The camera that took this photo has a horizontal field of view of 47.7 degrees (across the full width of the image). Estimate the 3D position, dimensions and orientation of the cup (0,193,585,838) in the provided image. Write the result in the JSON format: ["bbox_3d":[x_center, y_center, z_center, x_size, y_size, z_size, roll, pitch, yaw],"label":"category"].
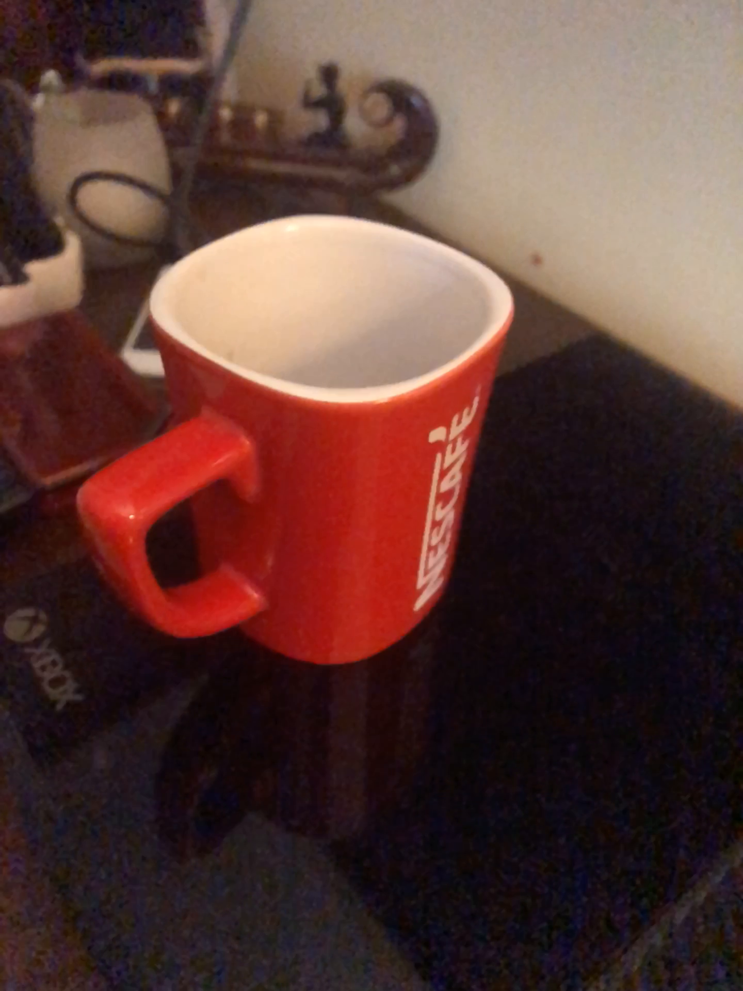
[{"bbox_3d":[-0.018,-0.003,0.207,0.080,0.089,0.111,29,48,25],"label":"cup"}]
